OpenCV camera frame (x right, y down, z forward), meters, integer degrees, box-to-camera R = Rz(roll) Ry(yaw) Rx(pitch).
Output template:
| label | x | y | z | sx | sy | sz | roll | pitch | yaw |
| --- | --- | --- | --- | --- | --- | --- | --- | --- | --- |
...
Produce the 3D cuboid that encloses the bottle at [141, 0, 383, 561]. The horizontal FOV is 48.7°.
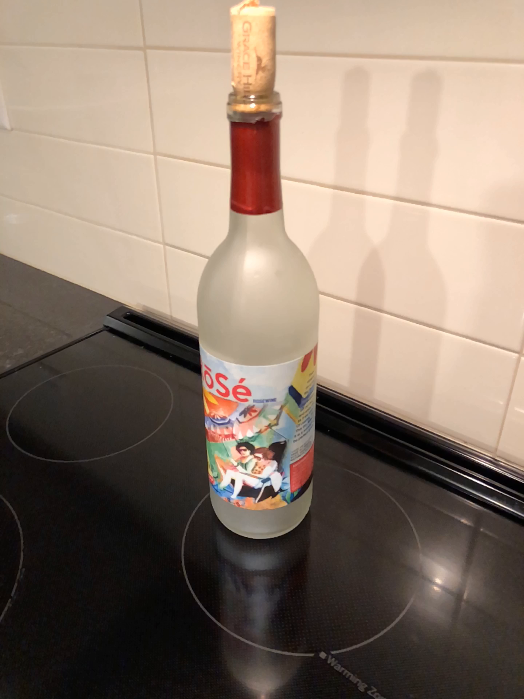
| label | x | y | z | sx | sy | sz | roll | pitch | yaw |
| --- | --- | --- | --- | --- | --- | --- | --- | --- | --- |
| bottle | 0.001 | -0.029 | 0.348 | 0.080 | 0.318 | 0.080 | 0 | 30 | 0 |
